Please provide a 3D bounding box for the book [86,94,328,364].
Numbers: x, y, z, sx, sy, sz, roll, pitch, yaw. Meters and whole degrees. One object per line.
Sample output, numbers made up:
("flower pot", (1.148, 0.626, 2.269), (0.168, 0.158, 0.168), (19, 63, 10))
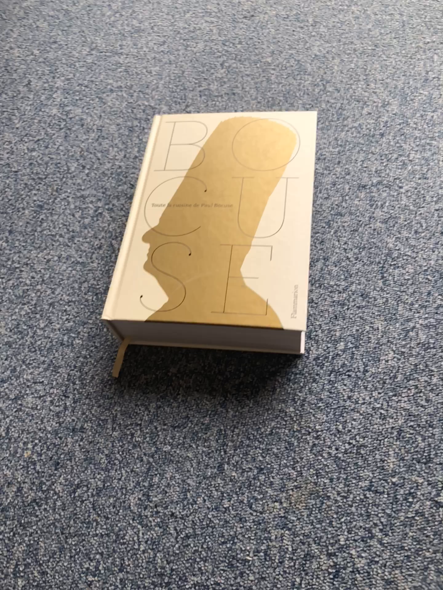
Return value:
("book", (0.004, -0.082, 0.514), (0.200, 0.080, 0.281), (3, 62, 11))
